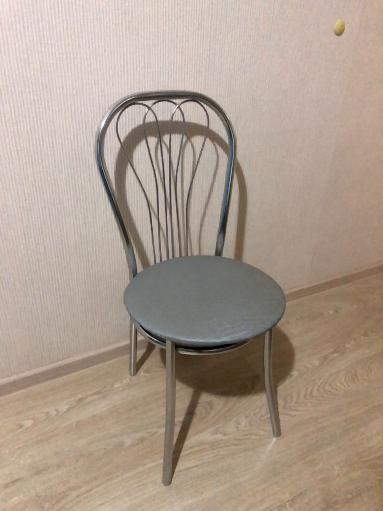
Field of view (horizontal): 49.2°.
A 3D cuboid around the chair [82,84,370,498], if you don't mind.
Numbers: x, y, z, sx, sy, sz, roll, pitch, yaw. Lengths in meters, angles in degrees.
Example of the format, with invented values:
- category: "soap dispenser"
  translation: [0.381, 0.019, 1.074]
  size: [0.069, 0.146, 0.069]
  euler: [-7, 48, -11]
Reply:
- category: "chair"
  translation: [0.015, 0.051, 1.032]
  size: [0.401, 0.825, 0.472]
  euler: [-10, 30, -23]
